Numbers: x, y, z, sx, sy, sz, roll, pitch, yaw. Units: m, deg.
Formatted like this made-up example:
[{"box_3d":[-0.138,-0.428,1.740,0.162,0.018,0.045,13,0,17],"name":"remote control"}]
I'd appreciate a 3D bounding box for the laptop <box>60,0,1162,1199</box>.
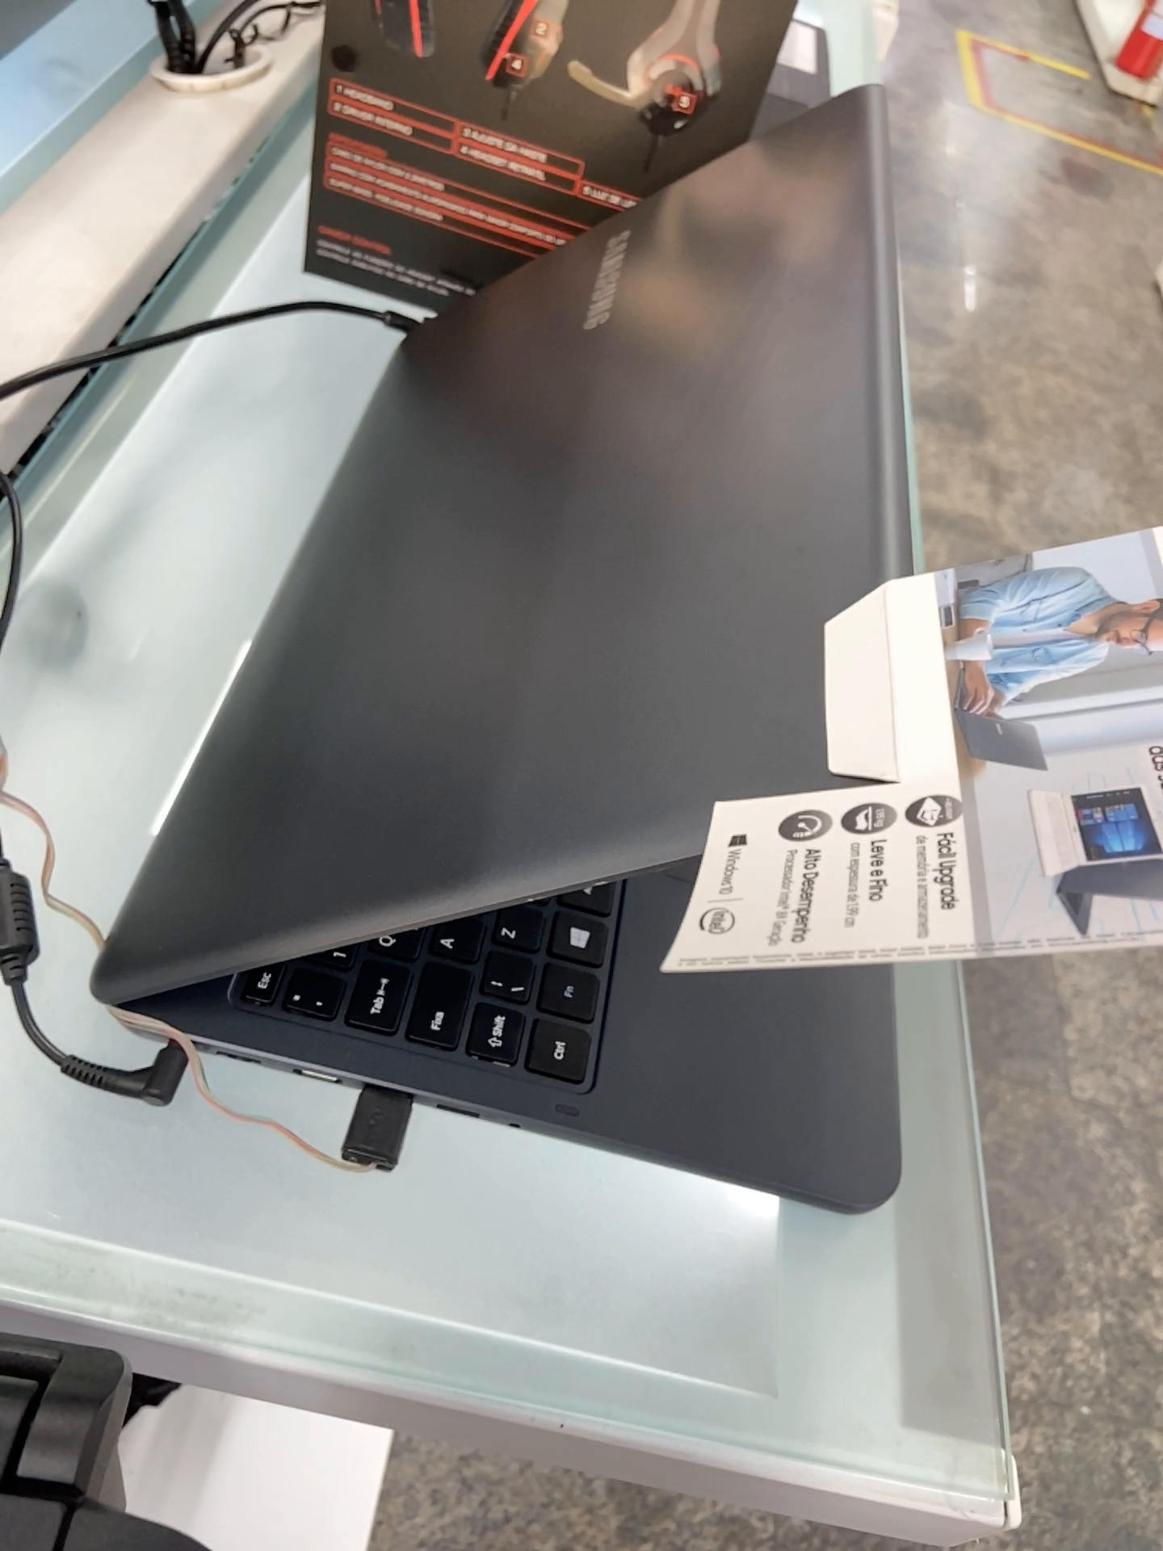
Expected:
[{"box_3d":[0.026,-0.092,0.419,0.237,0.170,0.373,16,48,-5],"name":"laptop"}]
